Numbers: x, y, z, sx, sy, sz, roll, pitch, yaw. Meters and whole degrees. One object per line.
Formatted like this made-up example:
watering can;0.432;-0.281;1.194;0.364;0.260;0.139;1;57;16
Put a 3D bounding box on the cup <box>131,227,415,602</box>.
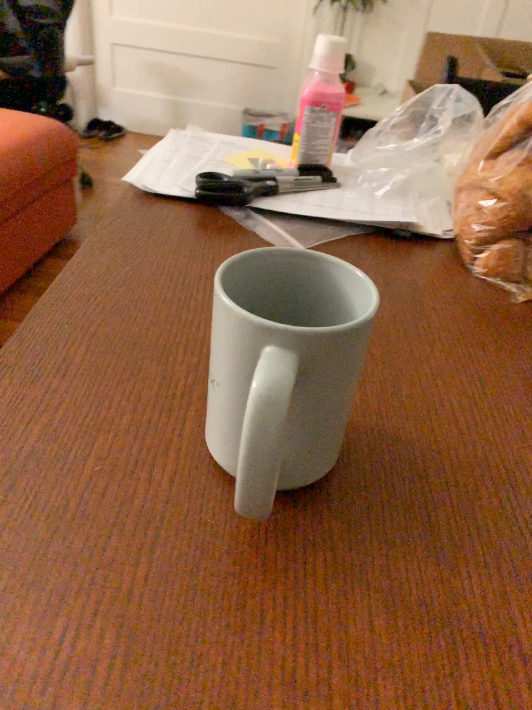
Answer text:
cup;0.009;0.020;0.288;0.100;0.109;0.141;15;37;9
